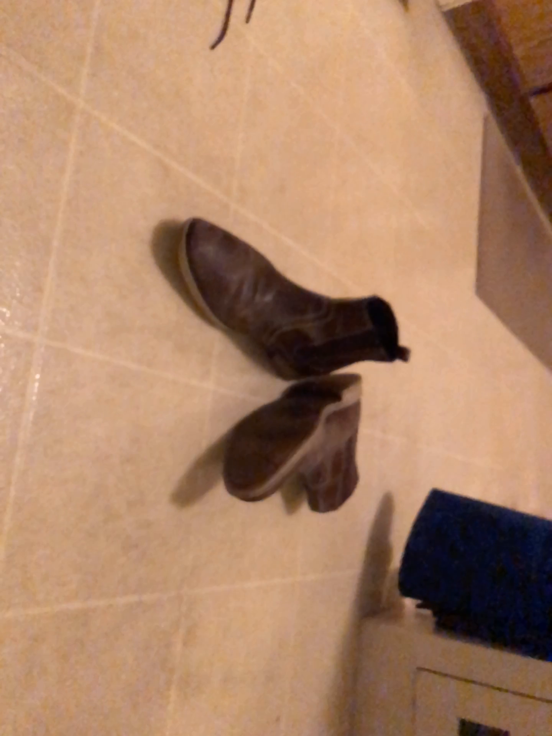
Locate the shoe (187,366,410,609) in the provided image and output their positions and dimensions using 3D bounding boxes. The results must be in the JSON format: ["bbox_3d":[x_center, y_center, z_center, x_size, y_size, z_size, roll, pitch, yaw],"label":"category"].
[{"bbox_3d":[0.048,0.125,0.777,0.315,0.111,0.161,-31,116,-51],"label":"shoe"}]

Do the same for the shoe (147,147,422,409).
[{"bbox_3d":[0.030,-0.078,0.712,0.314,0.160,0.111,46,53,-44],"label":"shoe"}]
